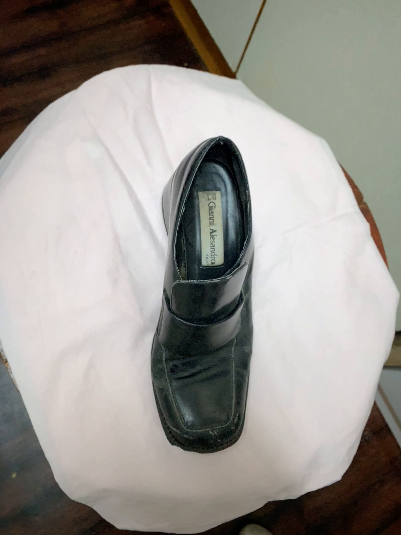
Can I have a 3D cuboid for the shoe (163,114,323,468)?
[{"bbox_3d":[0.022,0.014,0.330,0.090,0.092,0.240,0,77,-11],"label":"shoe"}]
